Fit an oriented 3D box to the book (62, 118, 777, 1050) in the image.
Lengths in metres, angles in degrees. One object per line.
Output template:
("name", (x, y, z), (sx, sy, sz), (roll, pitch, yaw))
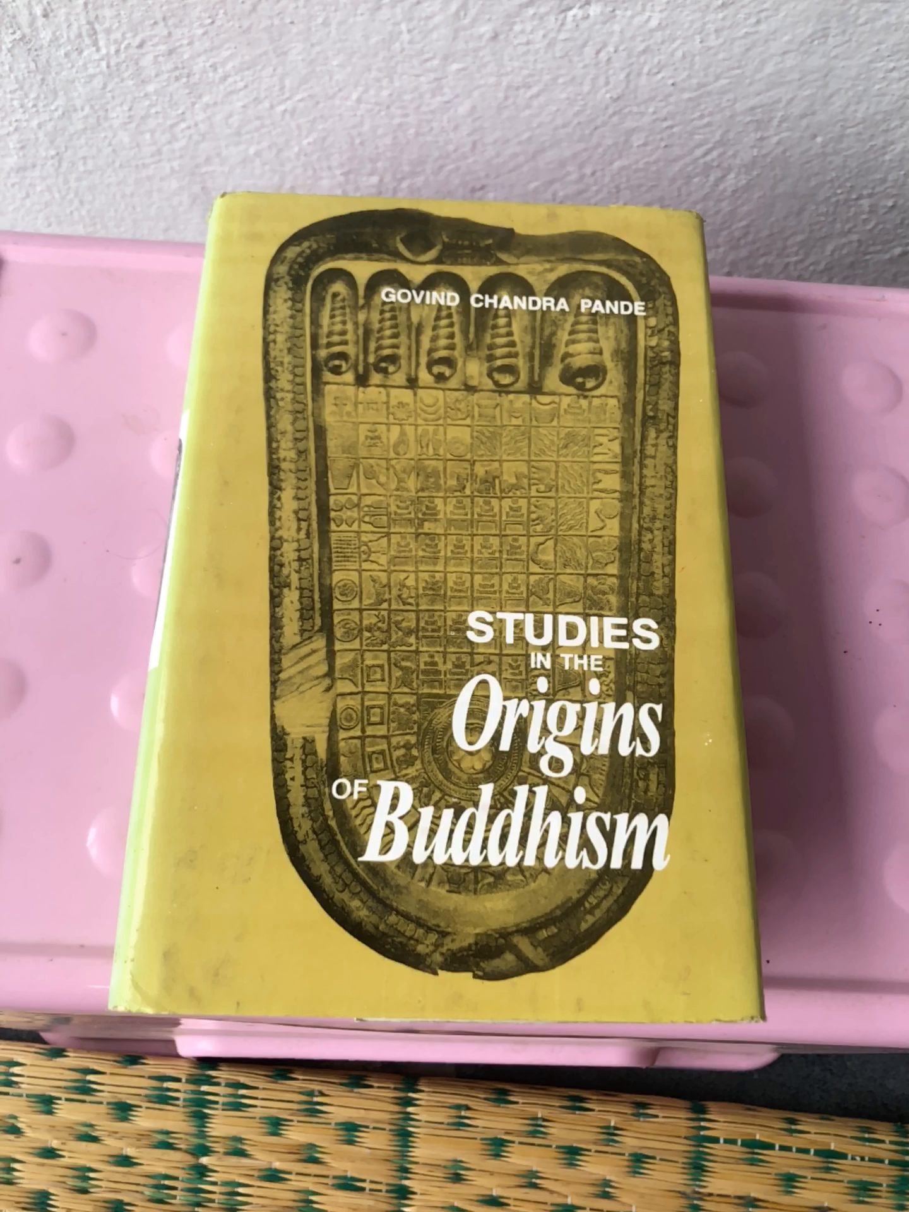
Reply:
("book", (-0.004, -0.016, 0.271), (0.150, 0.040, 0.240), (3, 71, -3))
